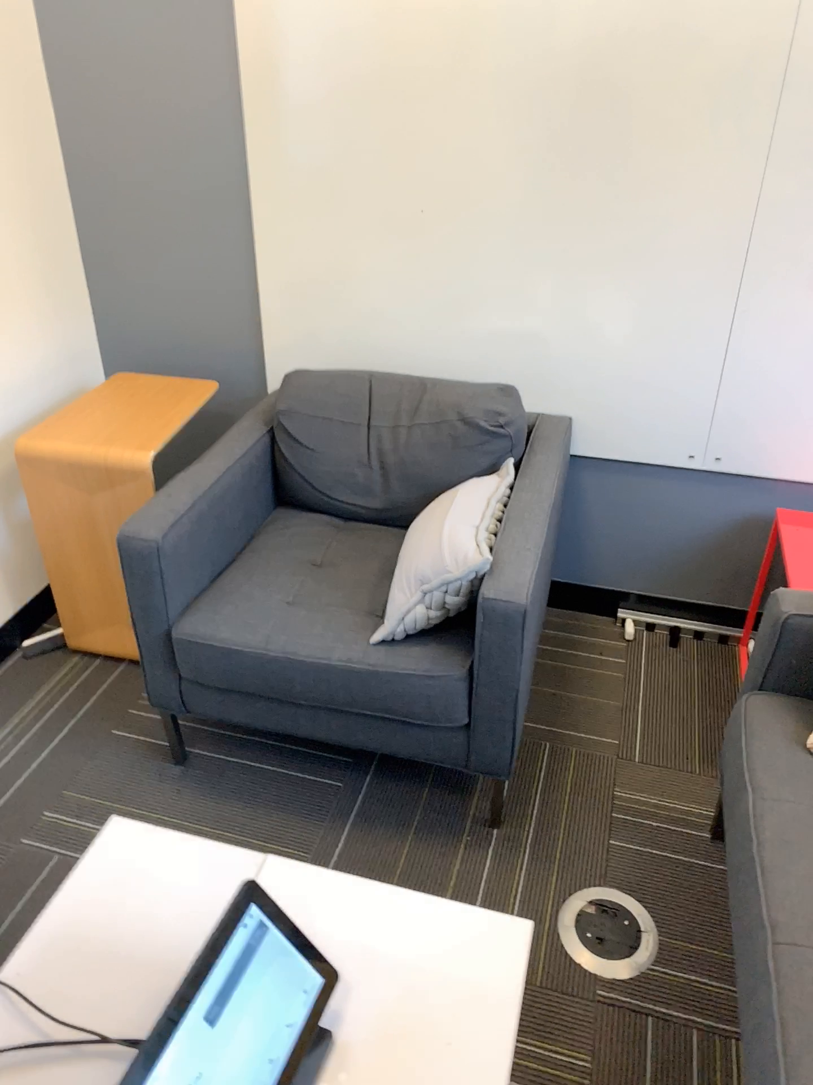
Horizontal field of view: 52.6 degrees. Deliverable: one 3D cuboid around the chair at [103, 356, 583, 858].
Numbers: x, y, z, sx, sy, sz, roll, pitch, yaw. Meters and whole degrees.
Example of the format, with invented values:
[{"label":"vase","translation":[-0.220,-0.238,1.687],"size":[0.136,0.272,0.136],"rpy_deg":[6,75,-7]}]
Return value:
[{"label":"chair","translation":[-0.060,0.073,2.059],"size":[0.841,0.716,0.945],"rpy_deg":[8,33,12]}]
